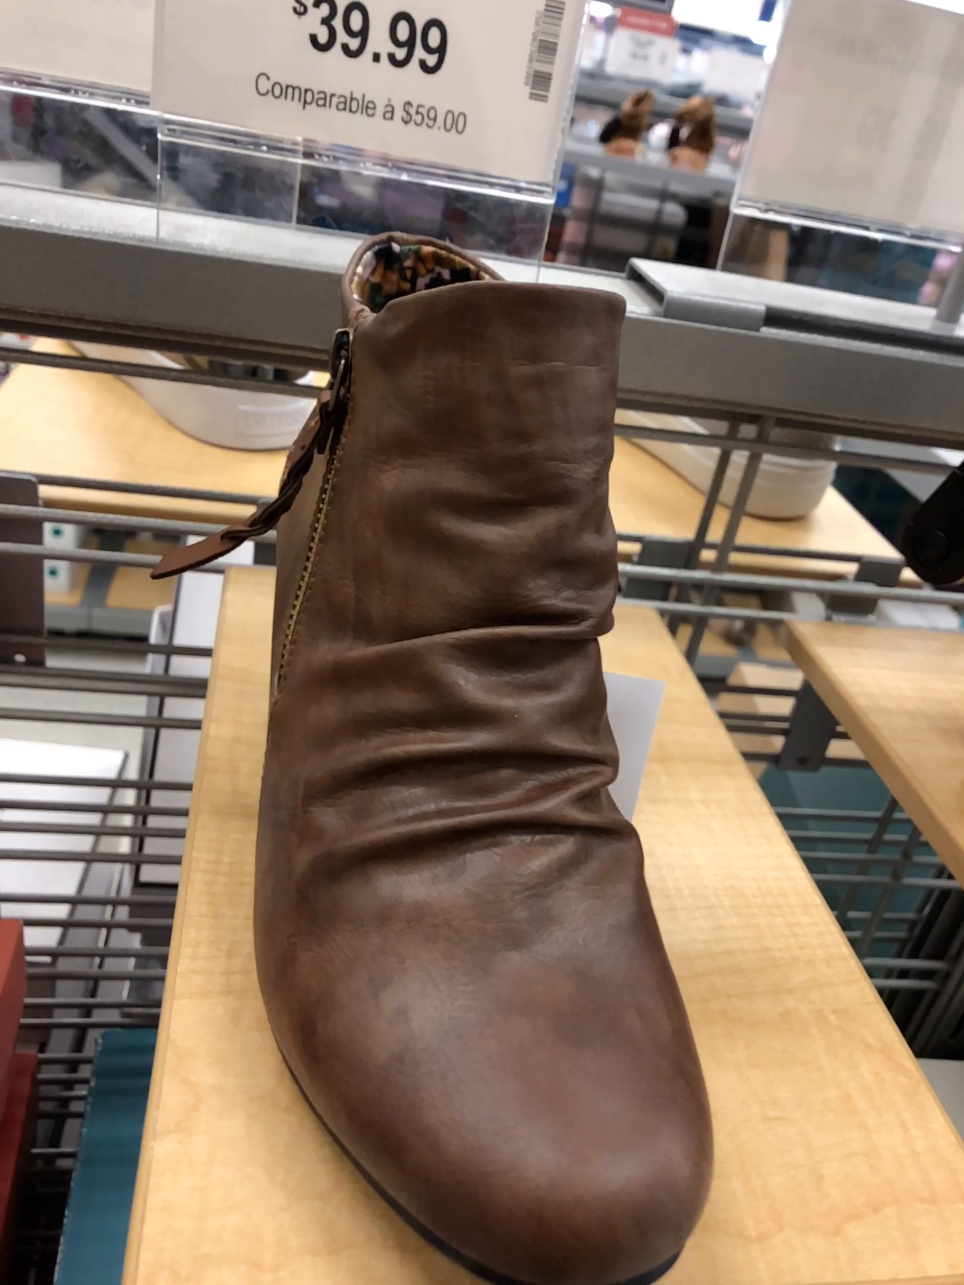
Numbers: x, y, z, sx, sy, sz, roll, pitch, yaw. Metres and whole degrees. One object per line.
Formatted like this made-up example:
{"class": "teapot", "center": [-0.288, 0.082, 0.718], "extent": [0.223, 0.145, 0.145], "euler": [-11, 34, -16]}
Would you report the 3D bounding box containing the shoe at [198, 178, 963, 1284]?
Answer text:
{"class": "shoe", "center": [-0.011, -0.002, 0.236], "extent": [0.090, 0.139, 0.232], "euler": [2, 31, -17]}
